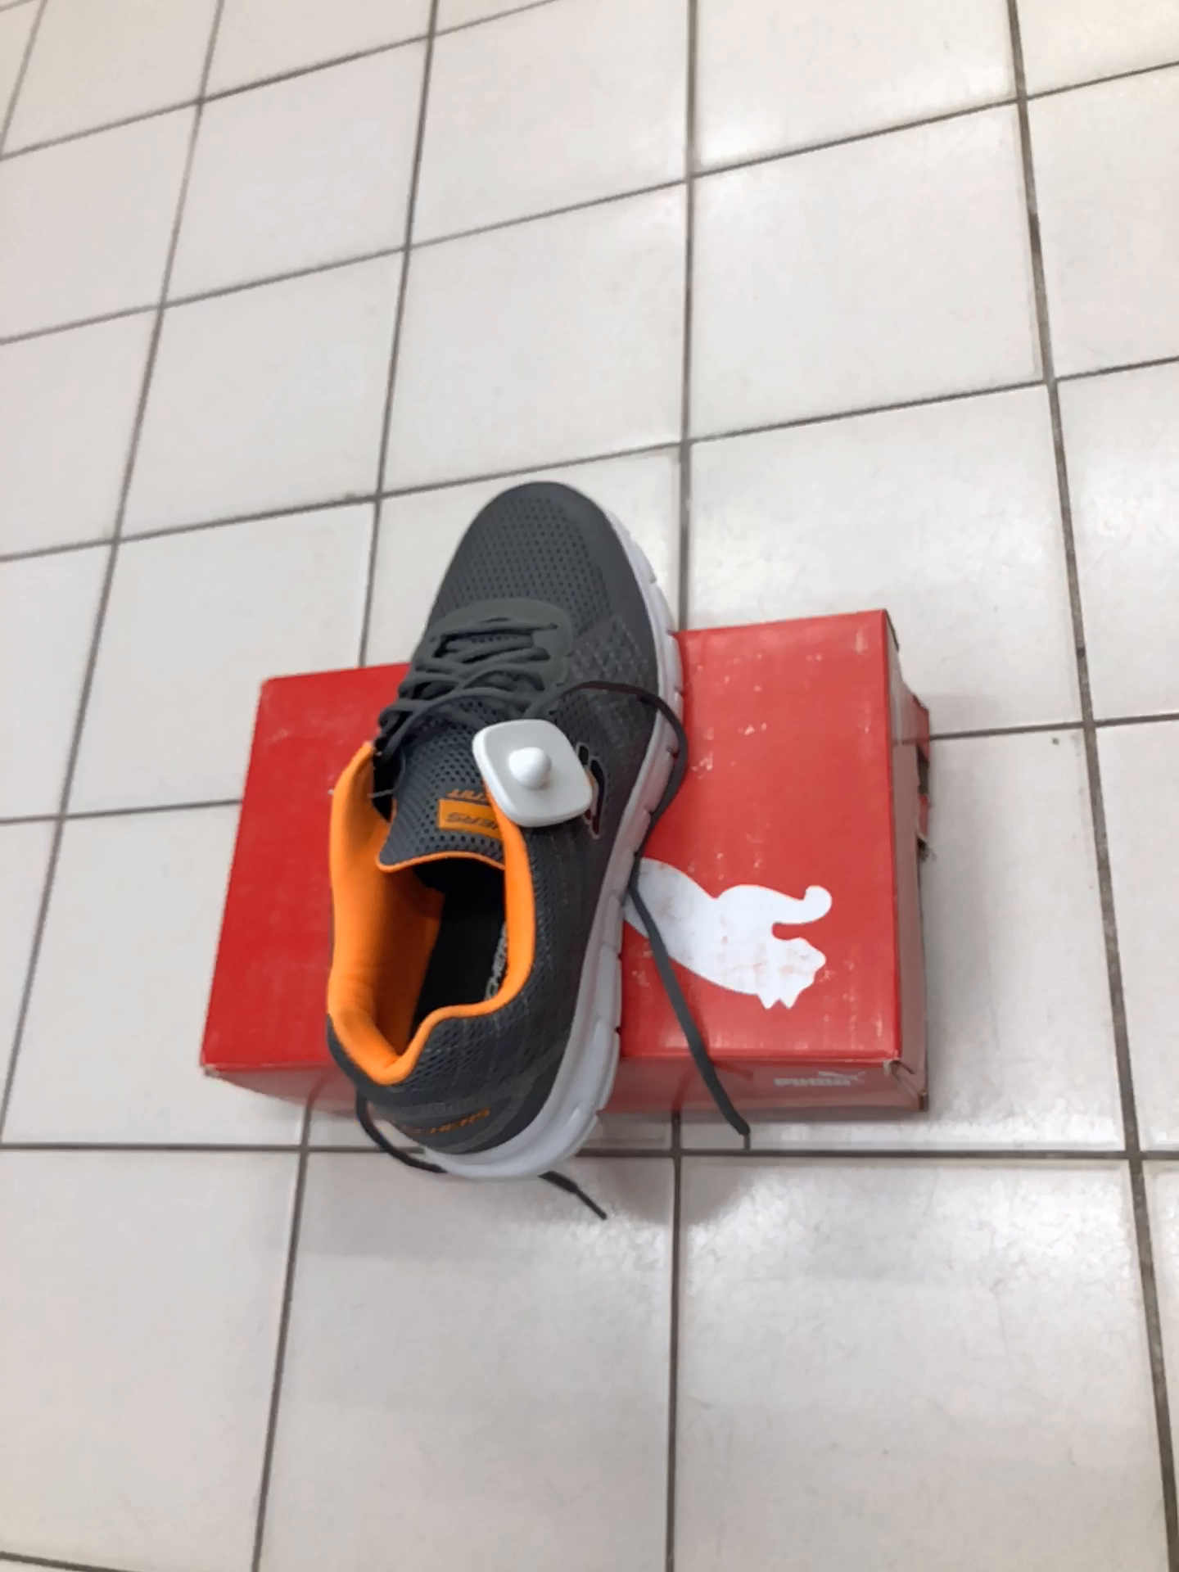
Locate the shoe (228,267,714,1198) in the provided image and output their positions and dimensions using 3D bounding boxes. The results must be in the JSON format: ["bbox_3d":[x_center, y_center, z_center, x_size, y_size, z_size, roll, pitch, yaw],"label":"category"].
[{"bbox_3d":[-0.026,-0.014,0.496,0.110,0.140,0.311,-4,67,19],"label":"shoe"}]
